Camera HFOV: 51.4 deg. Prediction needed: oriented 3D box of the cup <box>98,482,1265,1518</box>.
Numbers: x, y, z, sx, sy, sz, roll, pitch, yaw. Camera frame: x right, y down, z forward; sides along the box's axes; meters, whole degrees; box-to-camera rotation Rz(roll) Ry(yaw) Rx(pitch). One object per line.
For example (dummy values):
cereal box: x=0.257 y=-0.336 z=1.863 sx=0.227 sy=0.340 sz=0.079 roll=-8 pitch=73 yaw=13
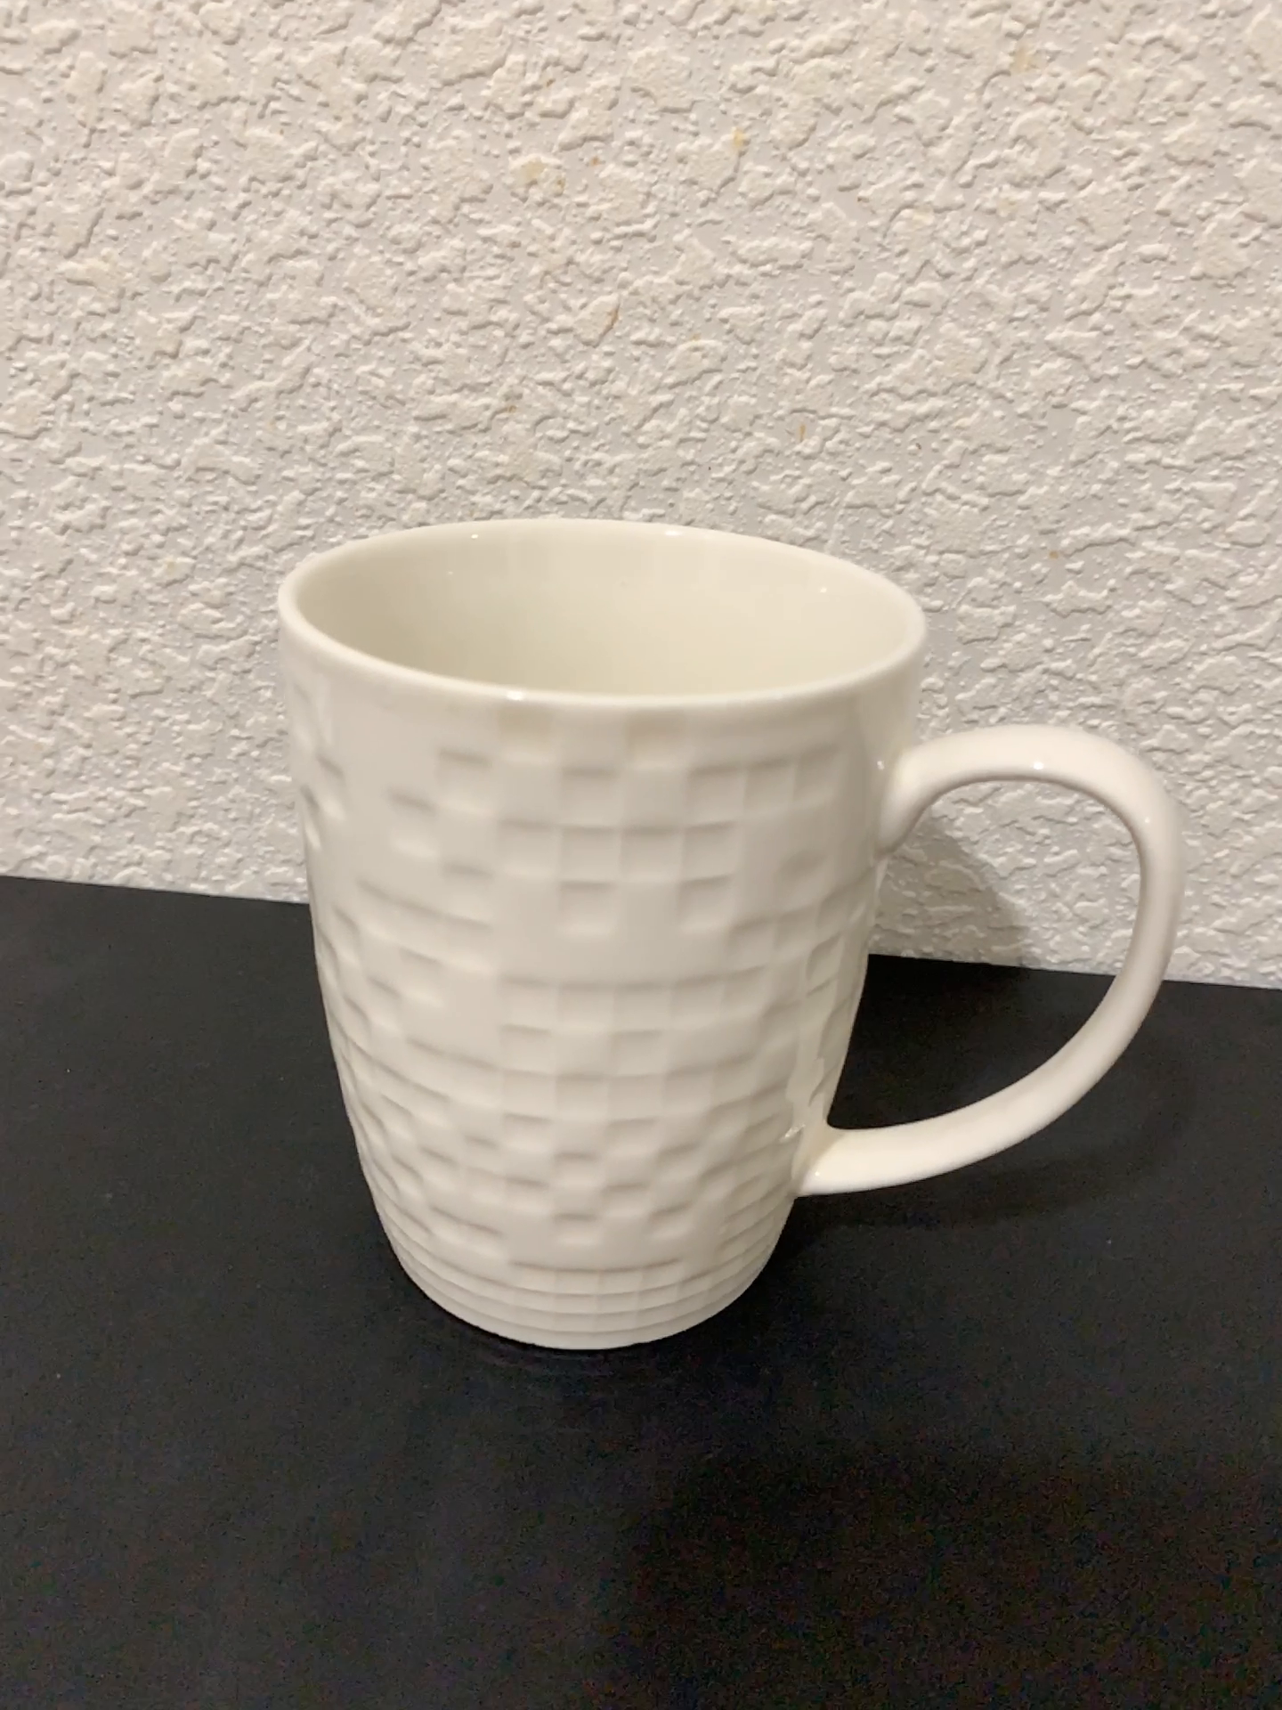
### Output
cup: x=0.006 y=0.013 z=0.193 sx=0.119 sy=0.105 sz=0.082 roll=8 pitch=28 yaw=10
